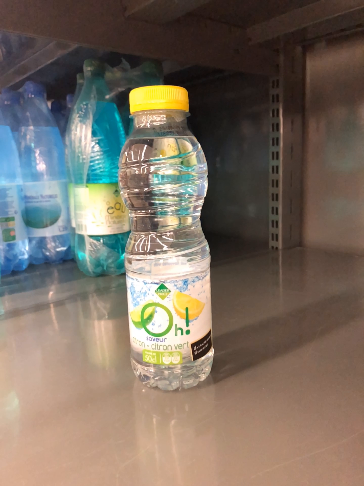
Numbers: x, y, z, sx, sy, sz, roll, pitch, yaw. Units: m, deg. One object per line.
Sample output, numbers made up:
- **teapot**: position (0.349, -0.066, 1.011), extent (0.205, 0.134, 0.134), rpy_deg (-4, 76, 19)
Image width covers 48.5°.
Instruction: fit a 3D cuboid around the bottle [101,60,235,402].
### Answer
- **bottle**: position (-0.004, -0.006, 0.284), extent (0.070, 0.209, 0.060), rpy_deg (1, 10, 18)
